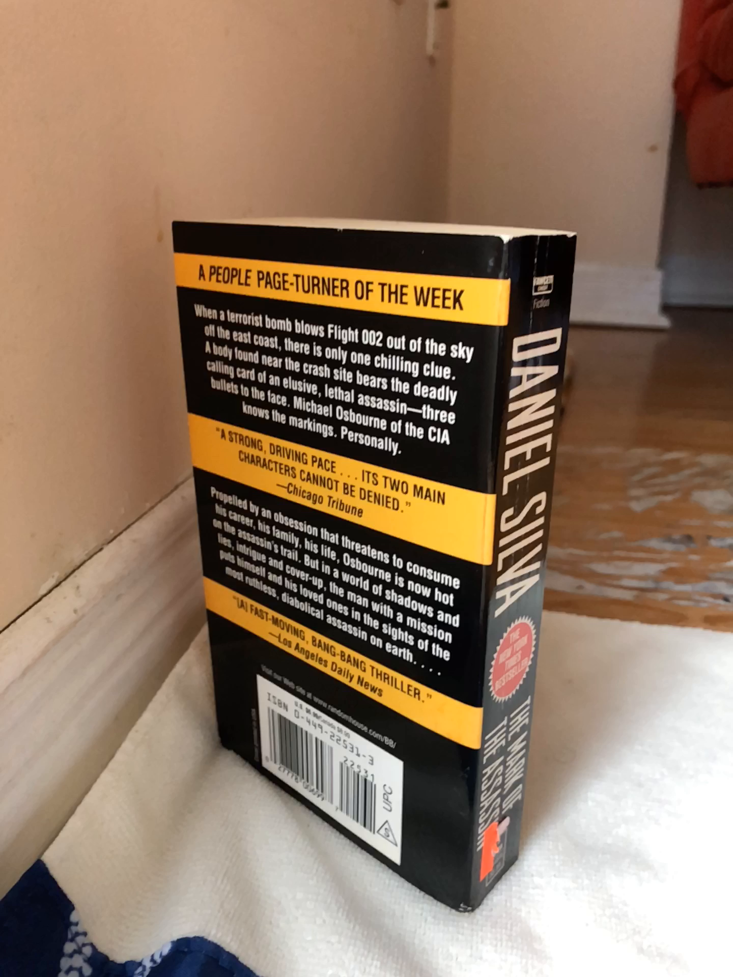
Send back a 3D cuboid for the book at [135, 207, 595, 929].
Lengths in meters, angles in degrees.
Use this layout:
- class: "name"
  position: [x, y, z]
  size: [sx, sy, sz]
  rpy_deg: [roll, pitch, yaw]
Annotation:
- class: "book"
  position: [-0.007, 0.011, 0.234]
  size: [0.045, 0.169, 0.119]
  rpy_deg: [-18, 27, -41]
